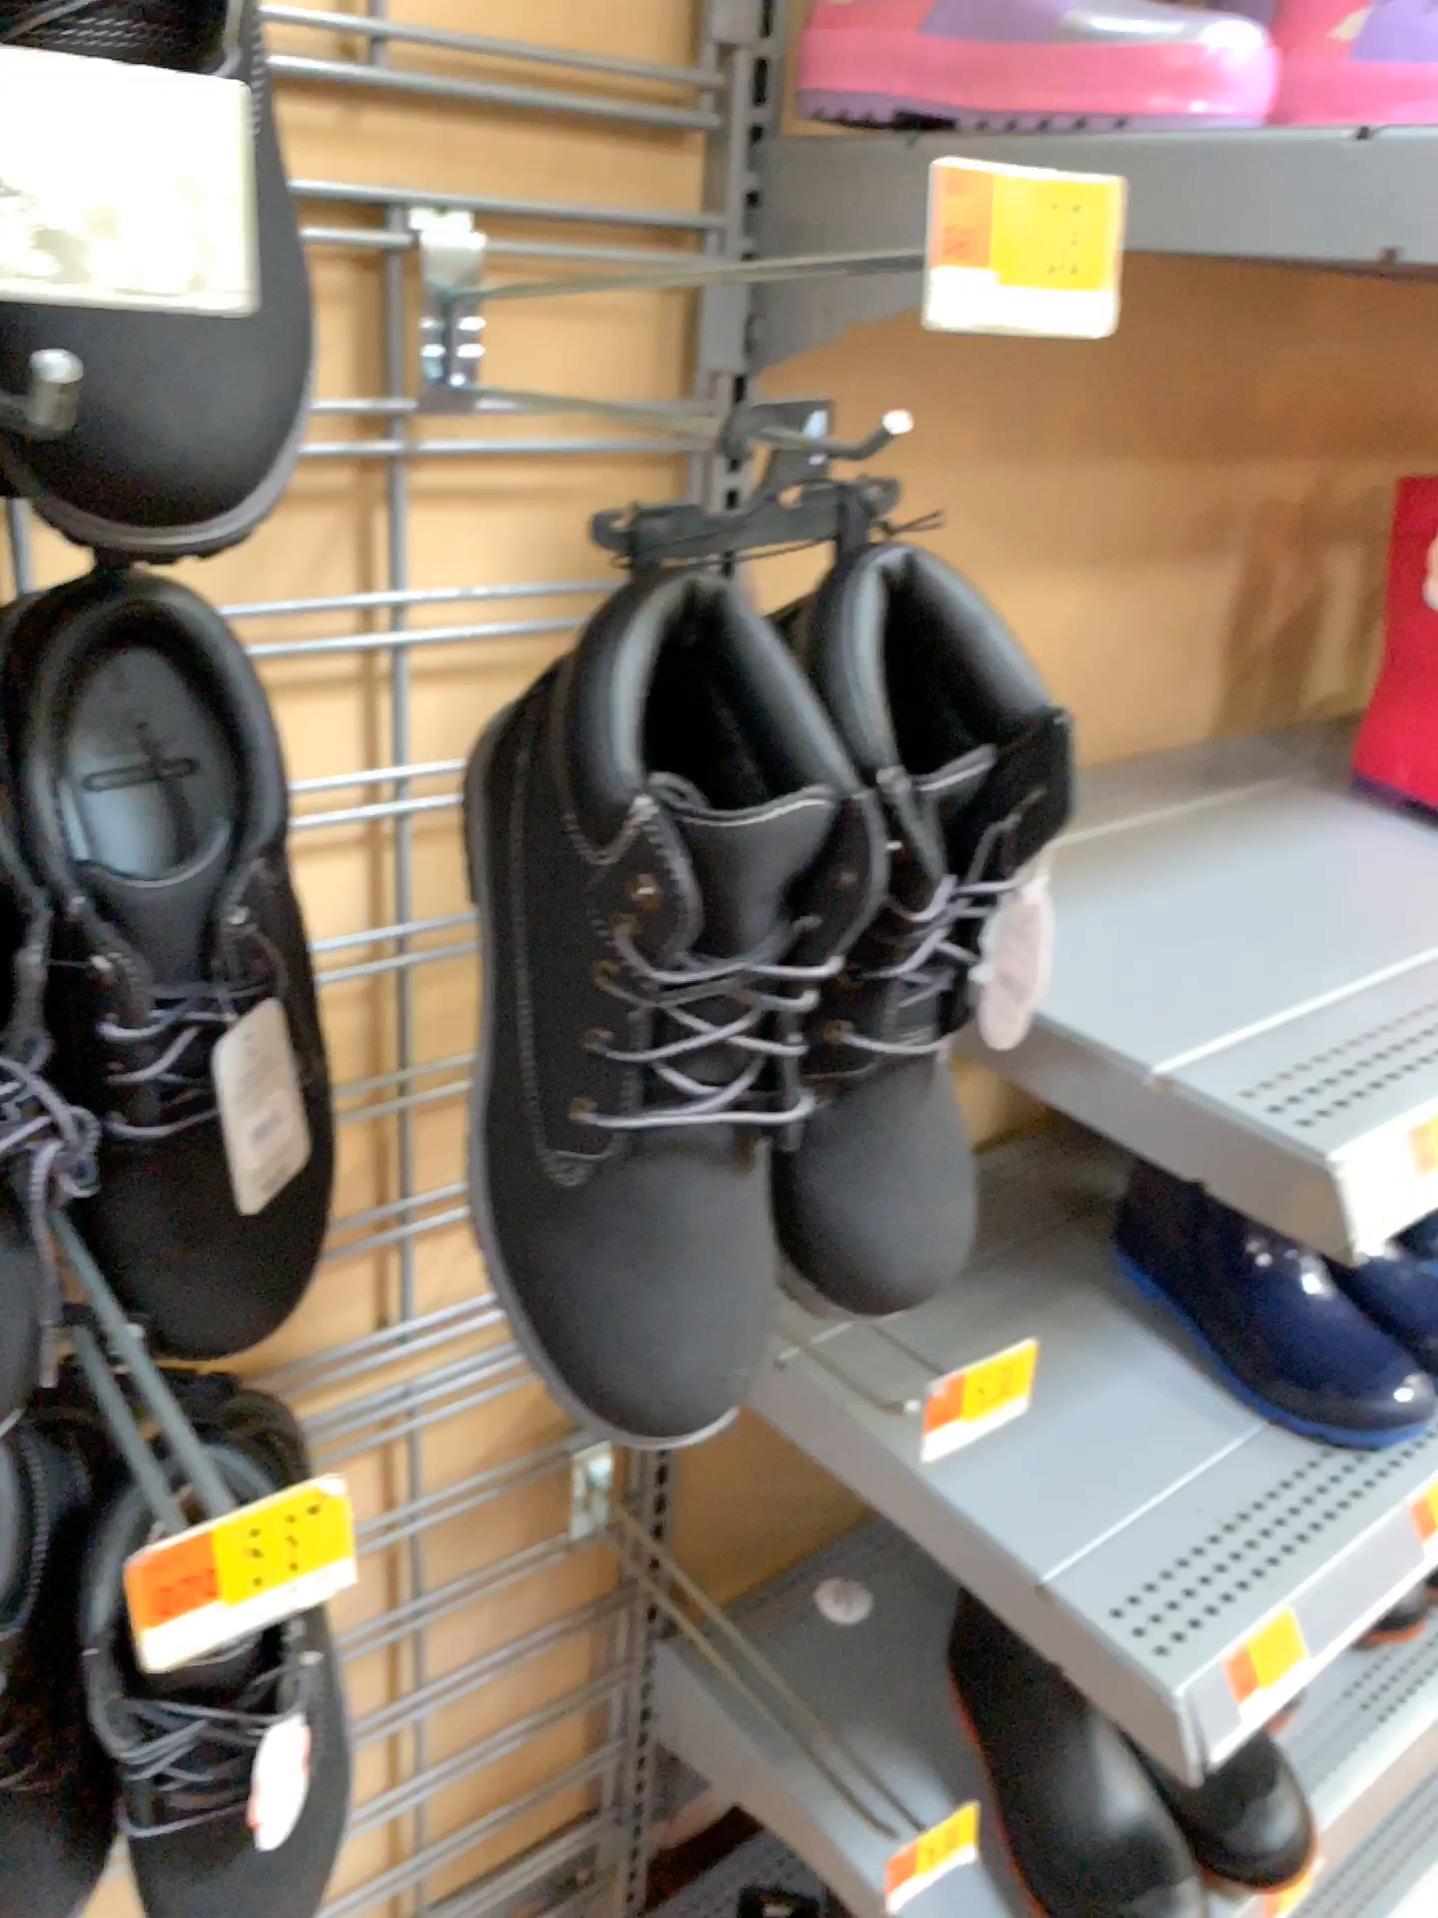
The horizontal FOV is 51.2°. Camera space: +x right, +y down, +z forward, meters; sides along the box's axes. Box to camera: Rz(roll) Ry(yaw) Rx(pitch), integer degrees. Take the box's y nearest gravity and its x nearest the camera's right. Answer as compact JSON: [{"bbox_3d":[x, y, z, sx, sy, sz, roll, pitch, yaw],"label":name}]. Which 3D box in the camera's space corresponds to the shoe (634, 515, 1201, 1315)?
[{"bbox_3d":[0.059,-0.019,0.462,0.100,0.206,0.120,-12,10,-32],"label":"shoe"}]

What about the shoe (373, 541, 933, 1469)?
[{"bbox_3d":[-0.020,0.004,0.438,0.100,0.229,0.110,-11,10,-33],"label":"shoe"}]
